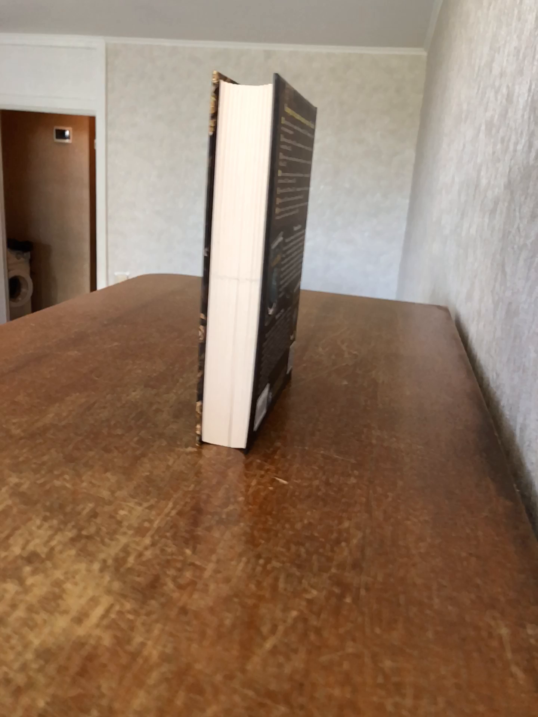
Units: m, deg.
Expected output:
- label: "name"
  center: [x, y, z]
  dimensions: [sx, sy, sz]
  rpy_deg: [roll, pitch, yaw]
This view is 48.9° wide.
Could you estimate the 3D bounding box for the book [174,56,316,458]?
- label: "book"
  center: [-0.012, -0.072, 0.423]
  dimensions: [0.041, 0.228, 0.167]
  rpy_deg: [9, 17, 11]
